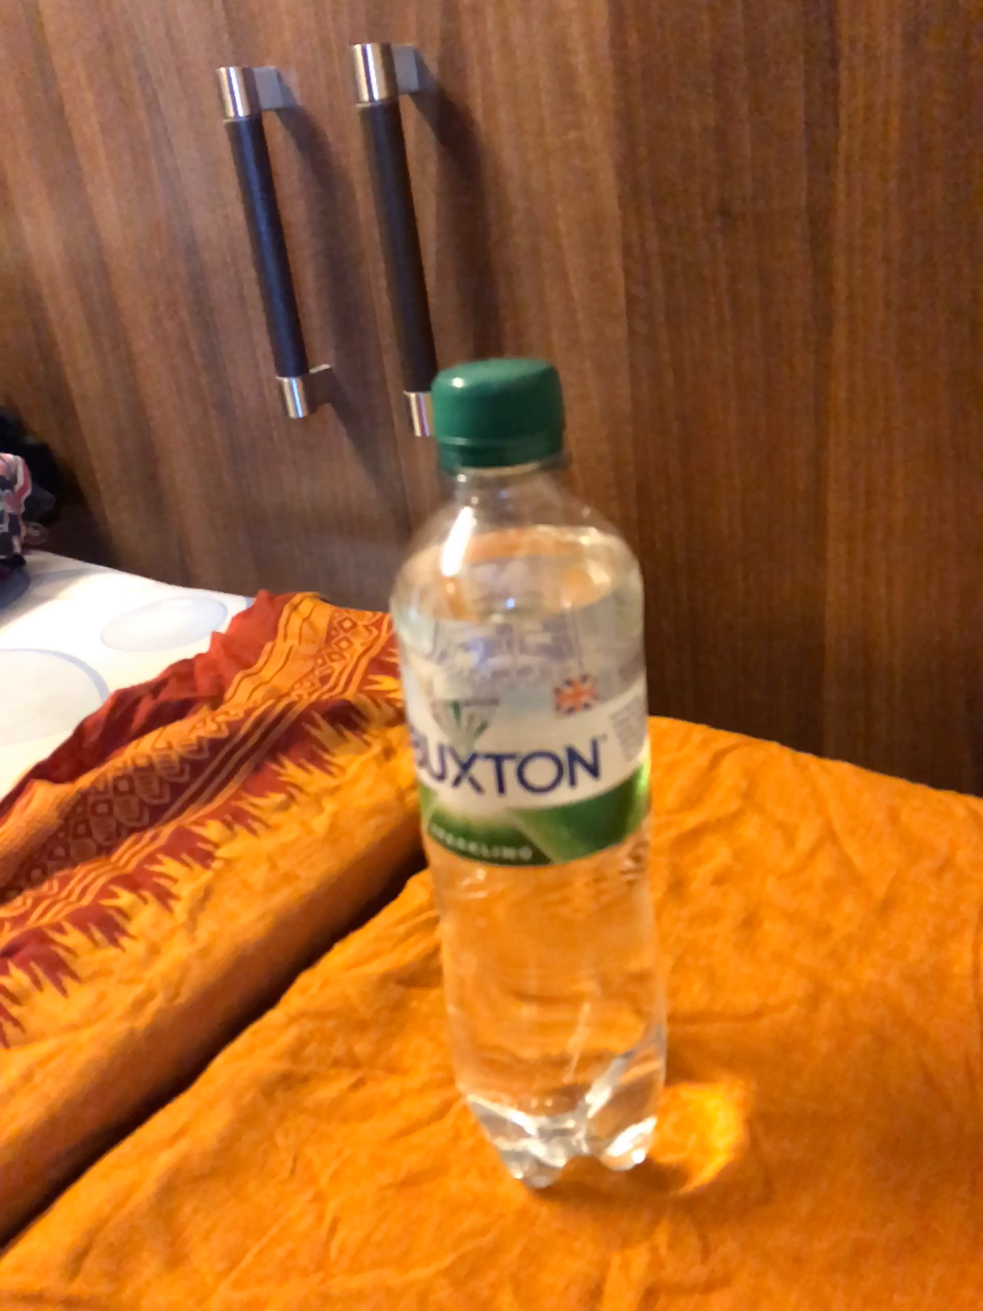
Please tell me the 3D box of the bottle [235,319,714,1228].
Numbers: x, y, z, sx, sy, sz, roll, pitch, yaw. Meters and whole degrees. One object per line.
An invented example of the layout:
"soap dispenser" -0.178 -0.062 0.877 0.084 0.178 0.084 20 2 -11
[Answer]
"bottle" 0.007 0.033 0.280 0.070 0.218 0.070 -6 27 3
